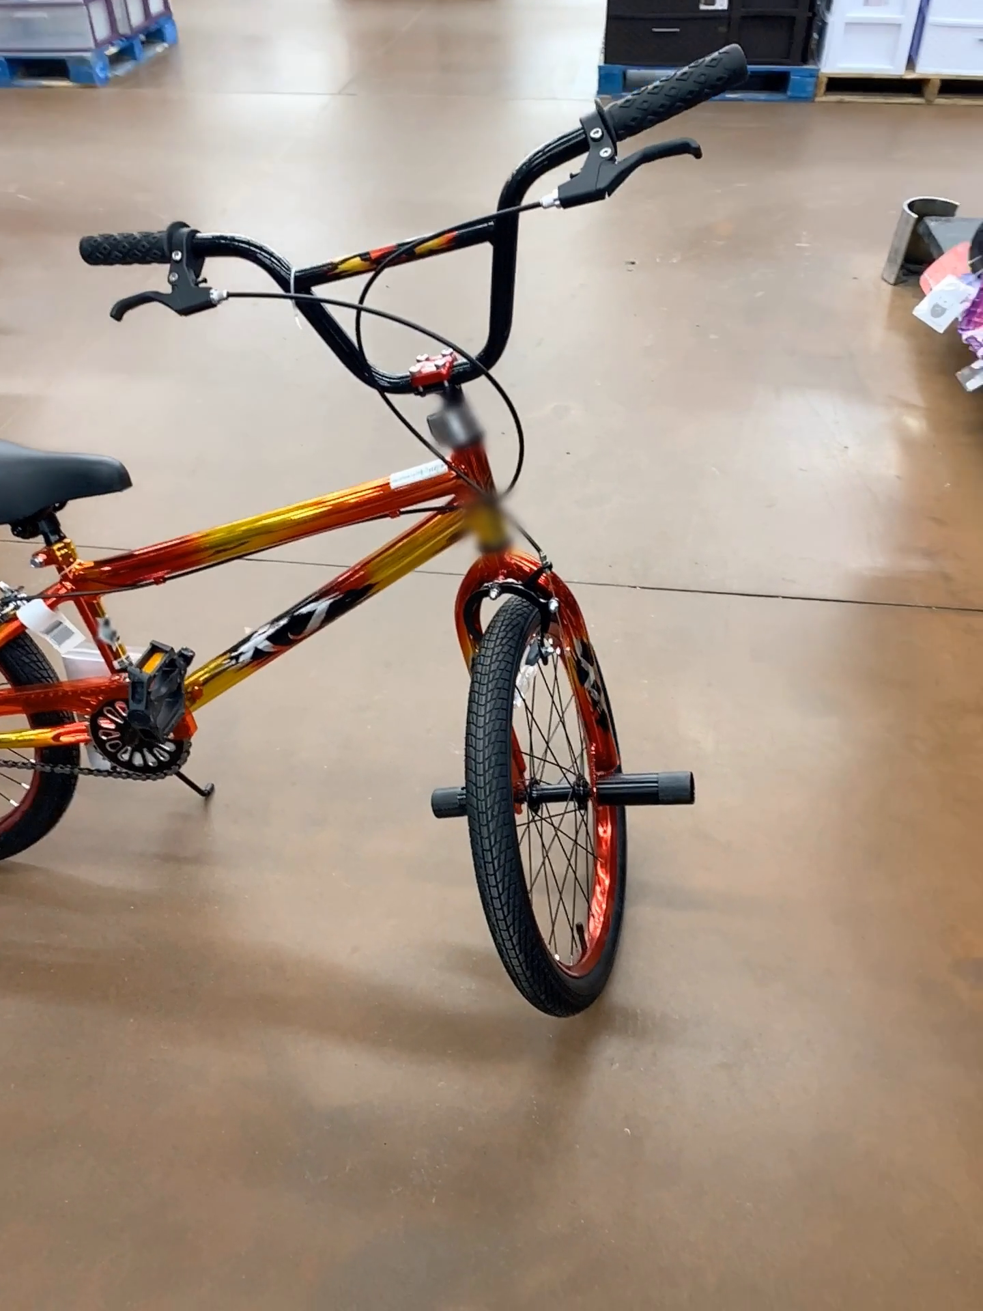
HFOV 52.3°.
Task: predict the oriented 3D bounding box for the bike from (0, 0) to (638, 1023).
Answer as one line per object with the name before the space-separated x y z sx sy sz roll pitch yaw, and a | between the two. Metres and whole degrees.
bike | -0.429 -0.205 1.184 1.122 0.925 0.707 -3 40 -1
